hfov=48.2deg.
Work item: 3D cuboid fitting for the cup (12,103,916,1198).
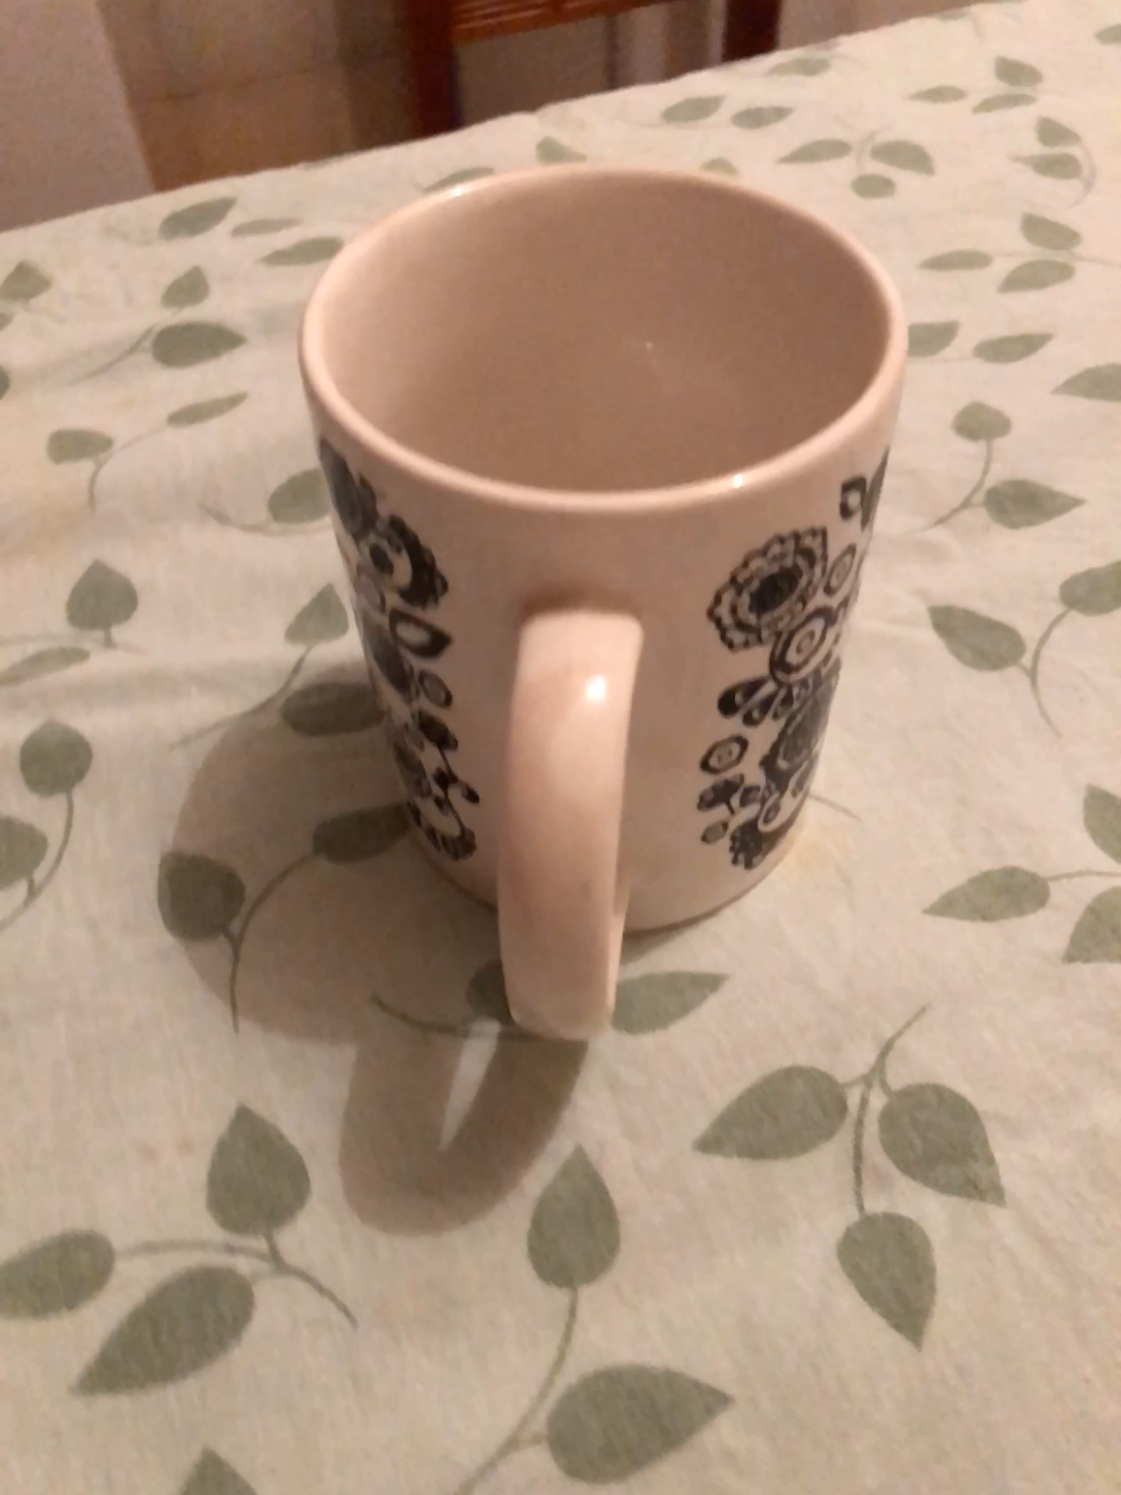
[{"bbox_3d":[-0.001,-0.015,0.186,0.080,0.099,0.121,5,52,5],"label":"cup"}]
